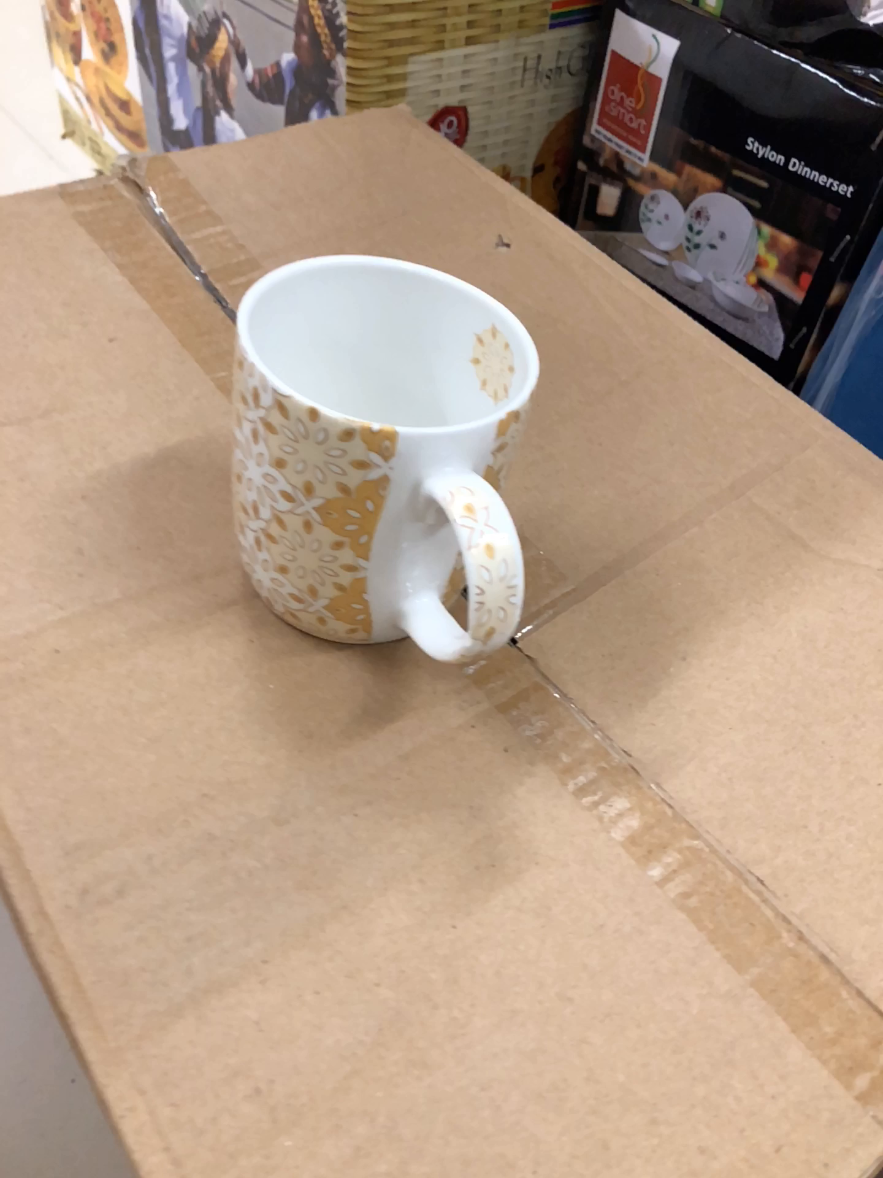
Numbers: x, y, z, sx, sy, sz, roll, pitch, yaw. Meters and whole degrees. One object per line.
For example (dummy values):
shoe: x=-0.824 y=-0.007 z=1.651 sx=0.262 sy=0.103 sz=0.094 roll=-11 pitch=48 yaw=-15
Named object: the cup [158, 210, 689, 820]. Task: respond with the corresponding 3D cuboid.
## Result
cup: x=-0.016 y=-0.025 z=0.259 sx=0.080 sy=0.089 sz=0.120 roll=-14 pitch=53 yaw=-25
